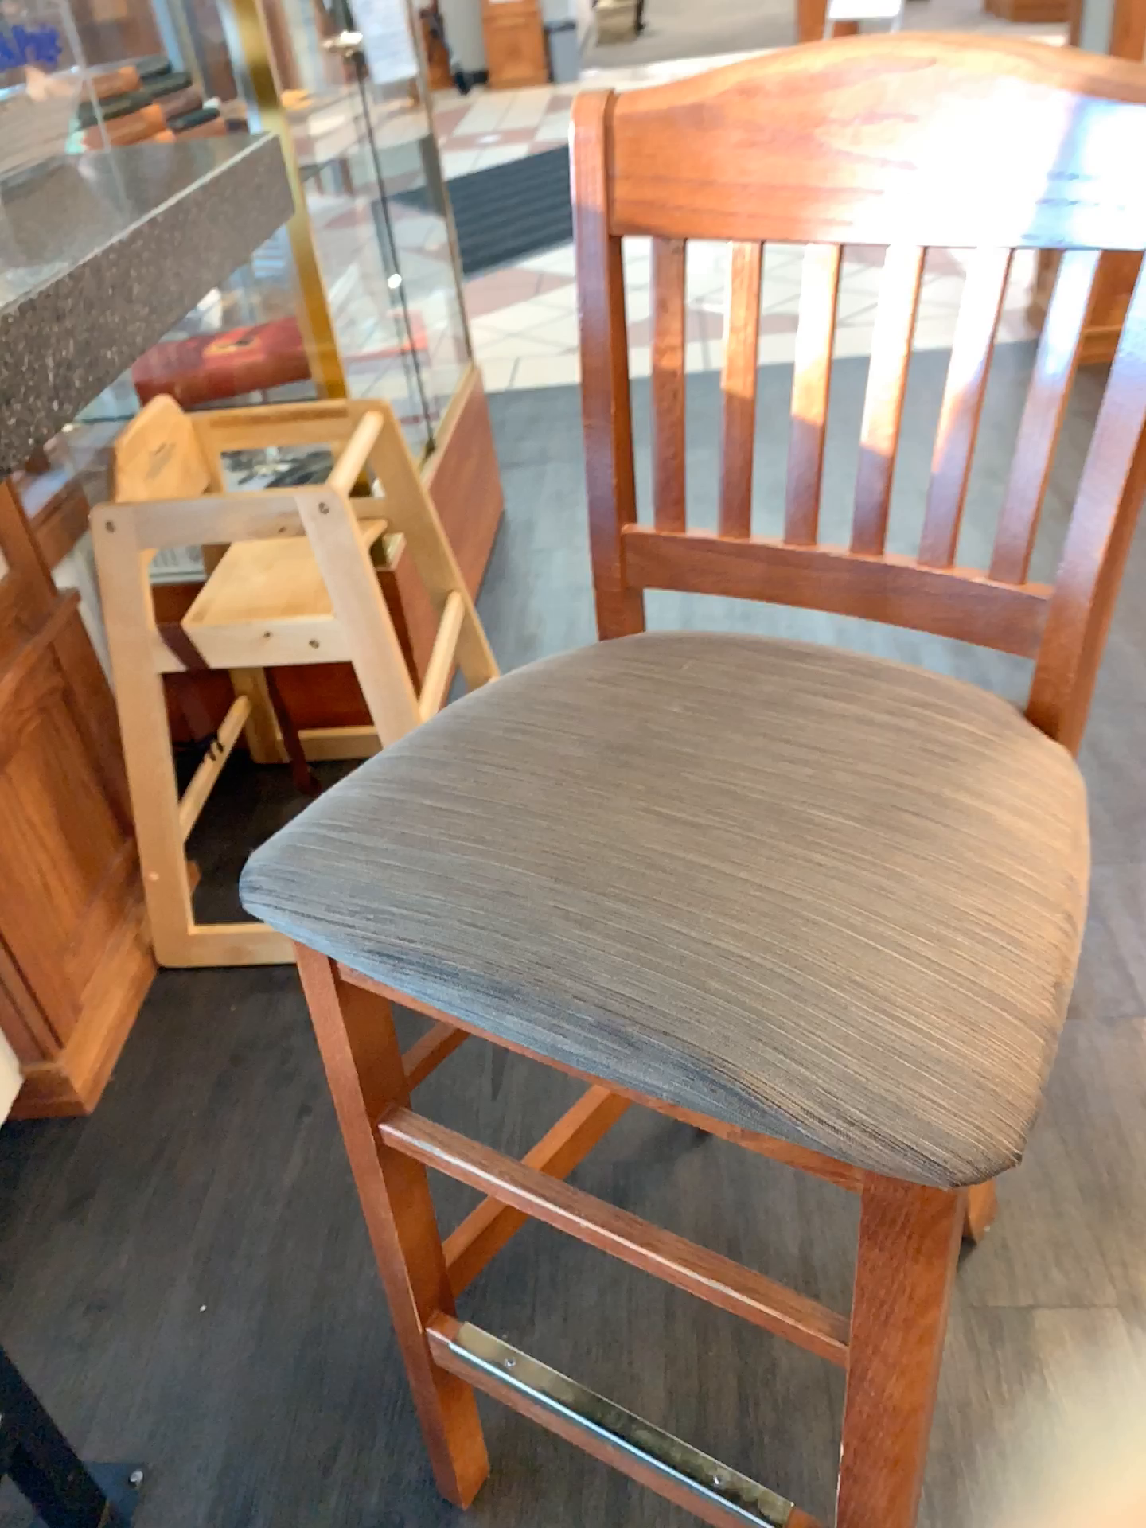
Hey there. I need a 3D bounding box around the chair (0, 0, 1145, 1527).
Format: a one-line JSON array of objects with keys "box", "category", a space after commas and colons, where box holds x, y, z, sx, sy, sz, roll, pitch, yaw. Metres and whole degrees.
[{"box": [0.084, 0.089, 0.895, 0.601, 1.045, 0.662, 17, 43, 30], "category": "chair"}]
